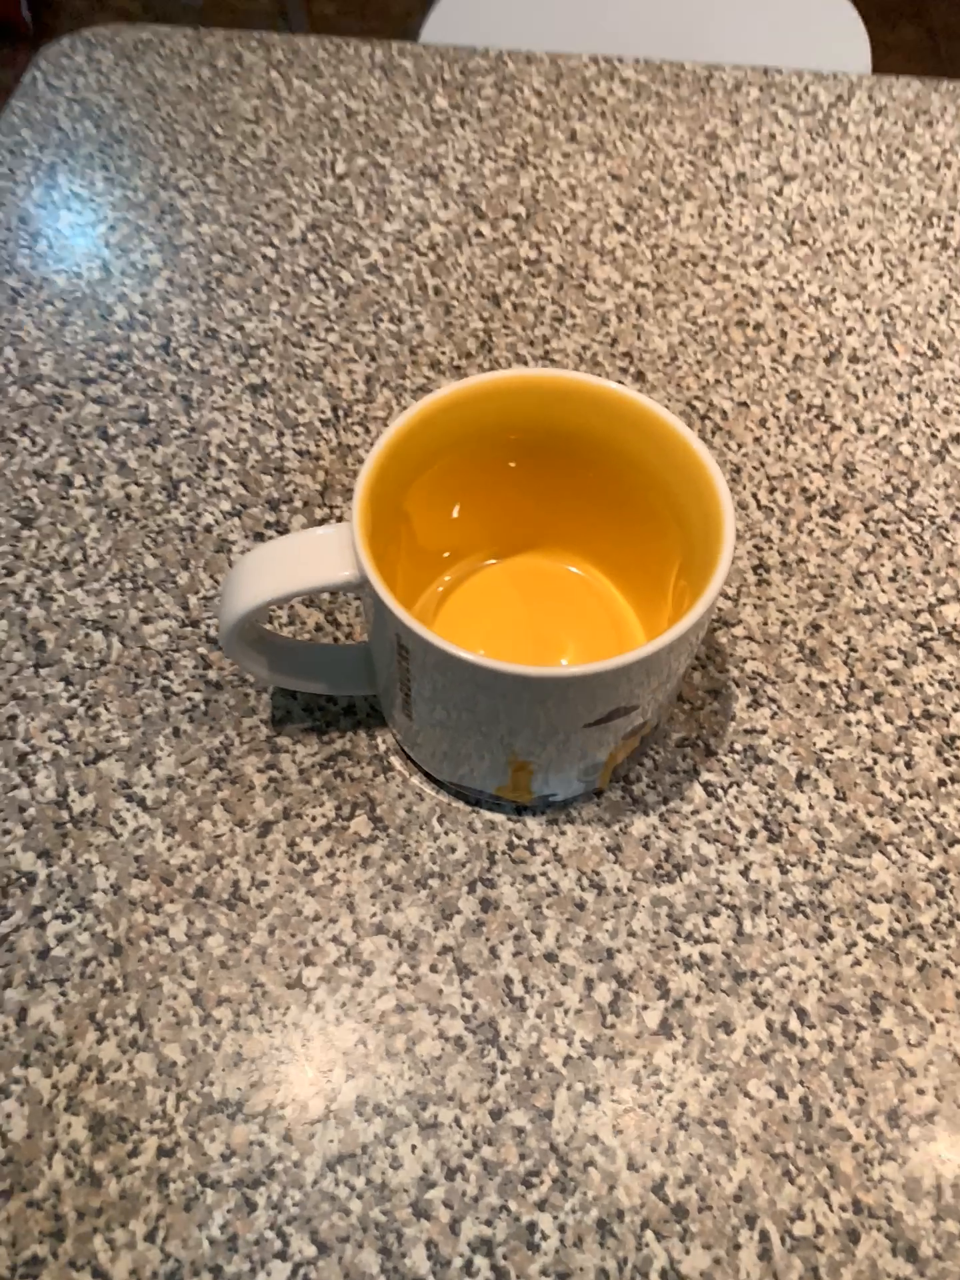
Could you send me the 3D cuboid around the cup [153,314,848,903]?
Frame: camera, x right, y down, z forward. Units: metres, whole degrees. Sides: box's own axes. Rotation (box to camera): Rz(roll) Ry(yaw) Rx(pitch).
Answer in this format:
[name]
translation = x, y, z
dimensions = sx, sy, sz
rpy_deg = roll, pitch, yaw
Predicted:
[cup]
translation = -0.001, -0.007, 0.266
dimensions = 0.139, 0.087, 0.102
rpy_deg = -12, 61, -7
